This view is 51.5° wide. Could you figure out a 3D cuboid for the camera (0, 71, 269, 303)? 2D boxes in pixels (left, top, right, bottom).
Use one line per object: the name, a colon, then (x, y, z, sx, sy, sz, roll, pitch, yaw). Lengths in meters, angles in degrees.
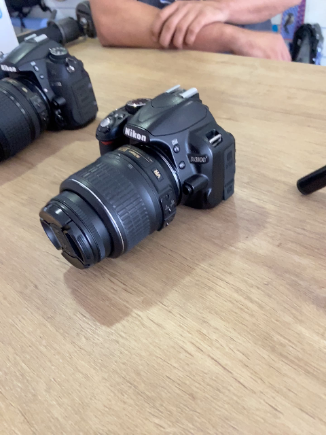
camera: (-0.015, -0.045, 0.298, 0.130, 0.089, 0.181, 26, 52, 35)
